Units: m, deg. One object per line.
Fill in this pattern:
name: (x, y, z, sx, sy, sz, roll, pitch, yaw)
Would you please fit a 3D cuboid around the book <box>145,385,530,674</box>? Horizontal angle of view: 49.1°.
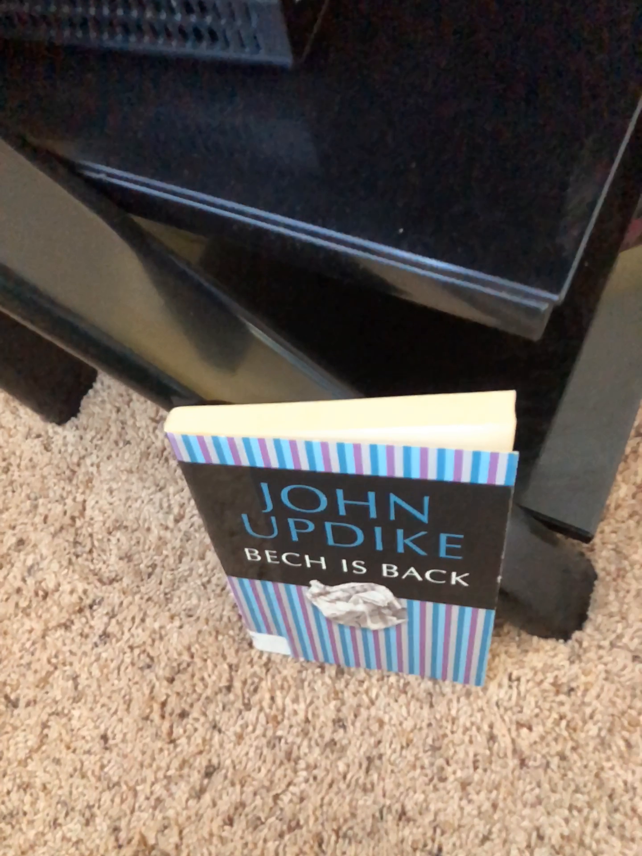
book: (0.018, 0.059, 0.329, 0.135, 0.202, 0.030, 3, 53, 12)
